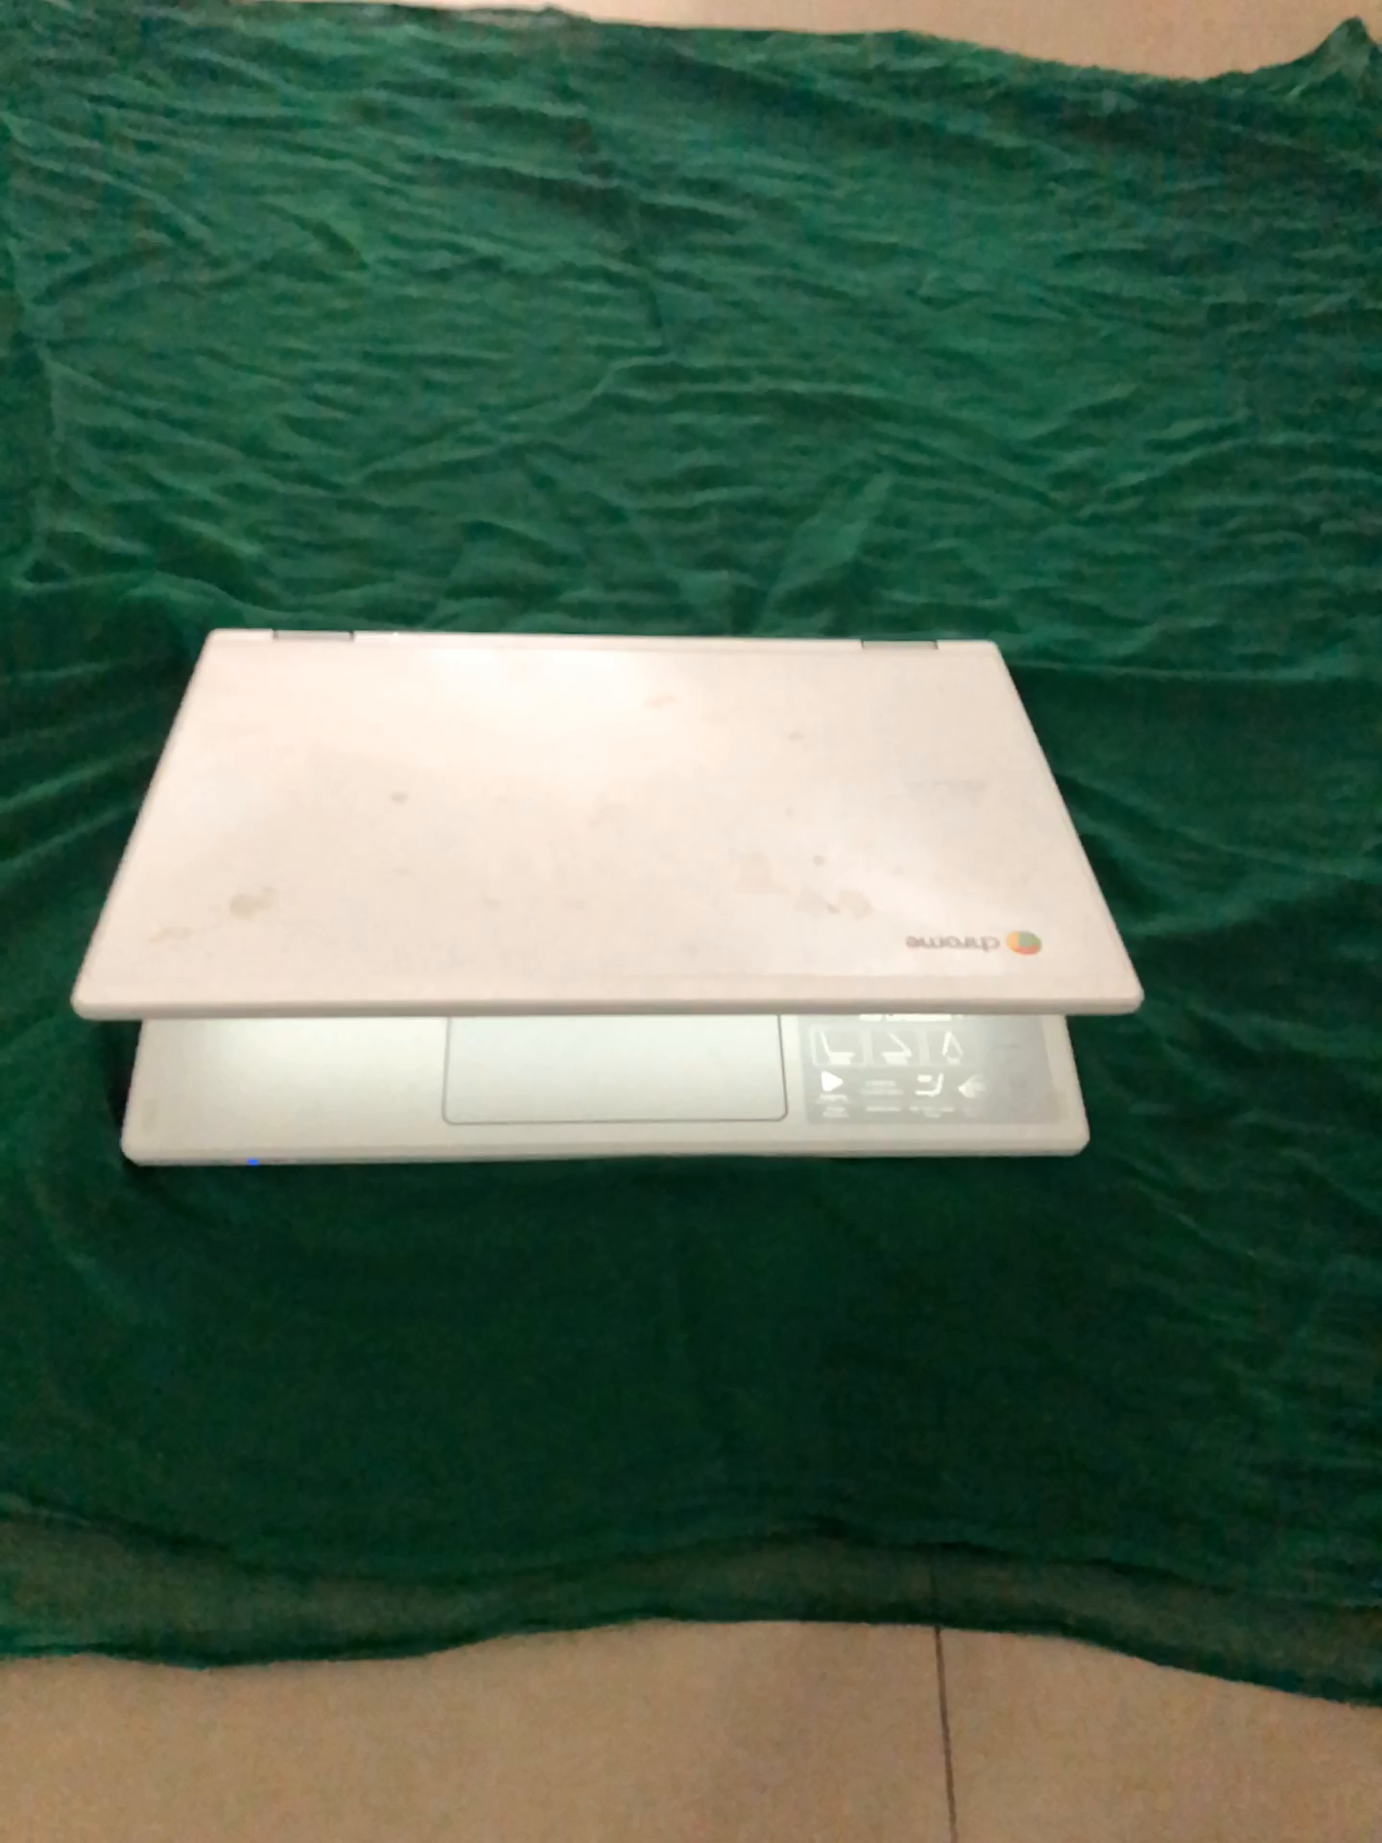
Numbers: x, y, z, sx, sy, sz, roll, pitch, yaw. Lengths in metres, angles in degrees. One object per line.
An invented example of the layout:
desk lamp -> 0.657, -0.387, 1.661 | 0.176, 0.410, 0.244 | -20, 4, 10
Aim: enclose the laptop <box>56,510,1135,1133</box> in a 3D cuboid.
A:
laptop -> -0.025, -0.038, 0.474 | 0.281, 0.065, 0.194 | 0, 56, -3
